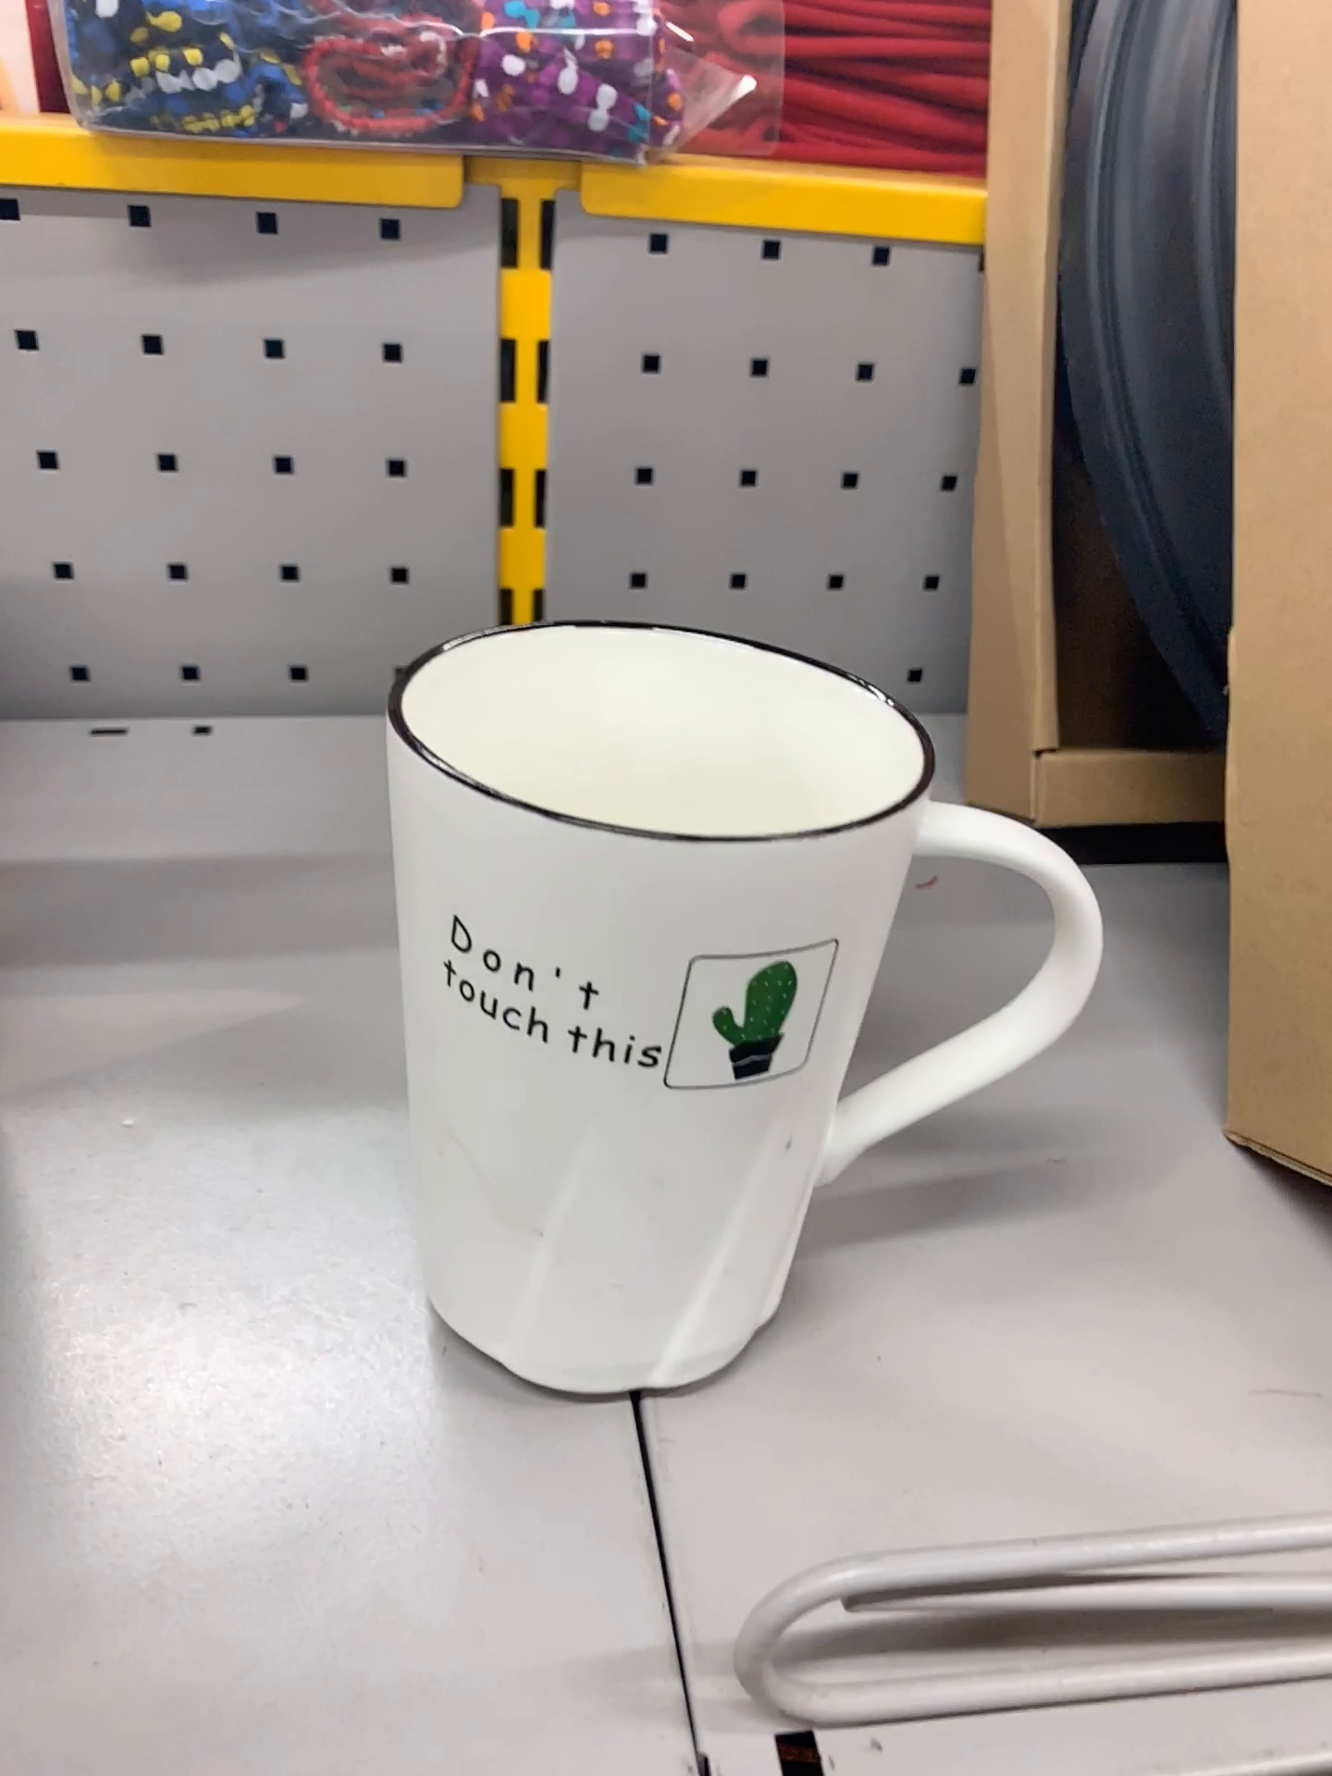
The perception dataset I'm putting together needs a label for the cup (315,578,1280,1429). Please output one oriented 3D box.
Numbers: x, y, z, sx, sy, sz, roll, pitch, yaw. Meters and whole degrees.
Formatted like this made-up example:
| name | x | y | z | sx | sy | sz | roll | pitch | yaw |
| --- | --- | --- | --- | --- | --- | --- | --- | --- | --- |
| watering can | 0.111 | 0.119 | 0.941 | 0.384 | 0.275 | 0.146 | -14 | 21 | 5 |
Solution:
| name | x | y | z | sx | sy | sz | roll | pitch | yaw |
| --- | --- | --- | --- | --- | --- | --- | --- | --- | --- |
| cup | 0.012 | 0.019 | 0.252 | 0.130 | 0.120 | 0.090 | 1 | 31 | -6 |
